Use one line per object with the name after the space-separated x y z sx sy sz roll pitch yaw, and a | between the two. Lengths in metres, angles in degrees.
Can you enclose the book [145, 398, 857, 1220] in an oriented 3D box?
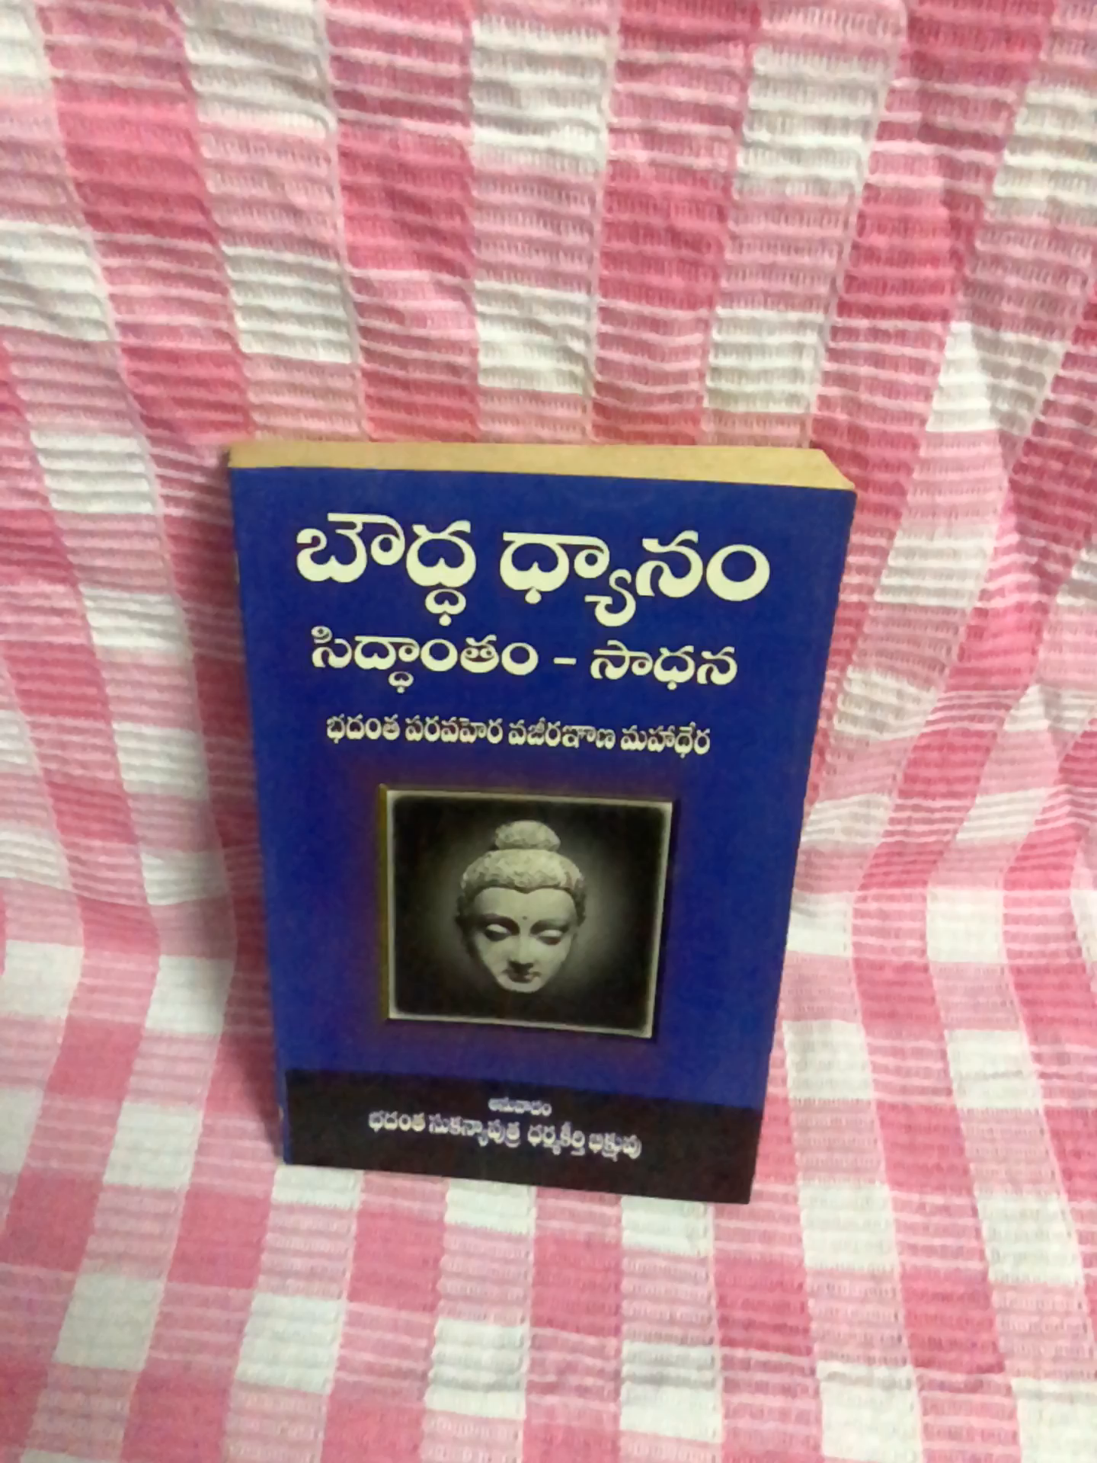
-0.015 0.032 0.333 0.160 0.229 0.030 4 26 3 | book
